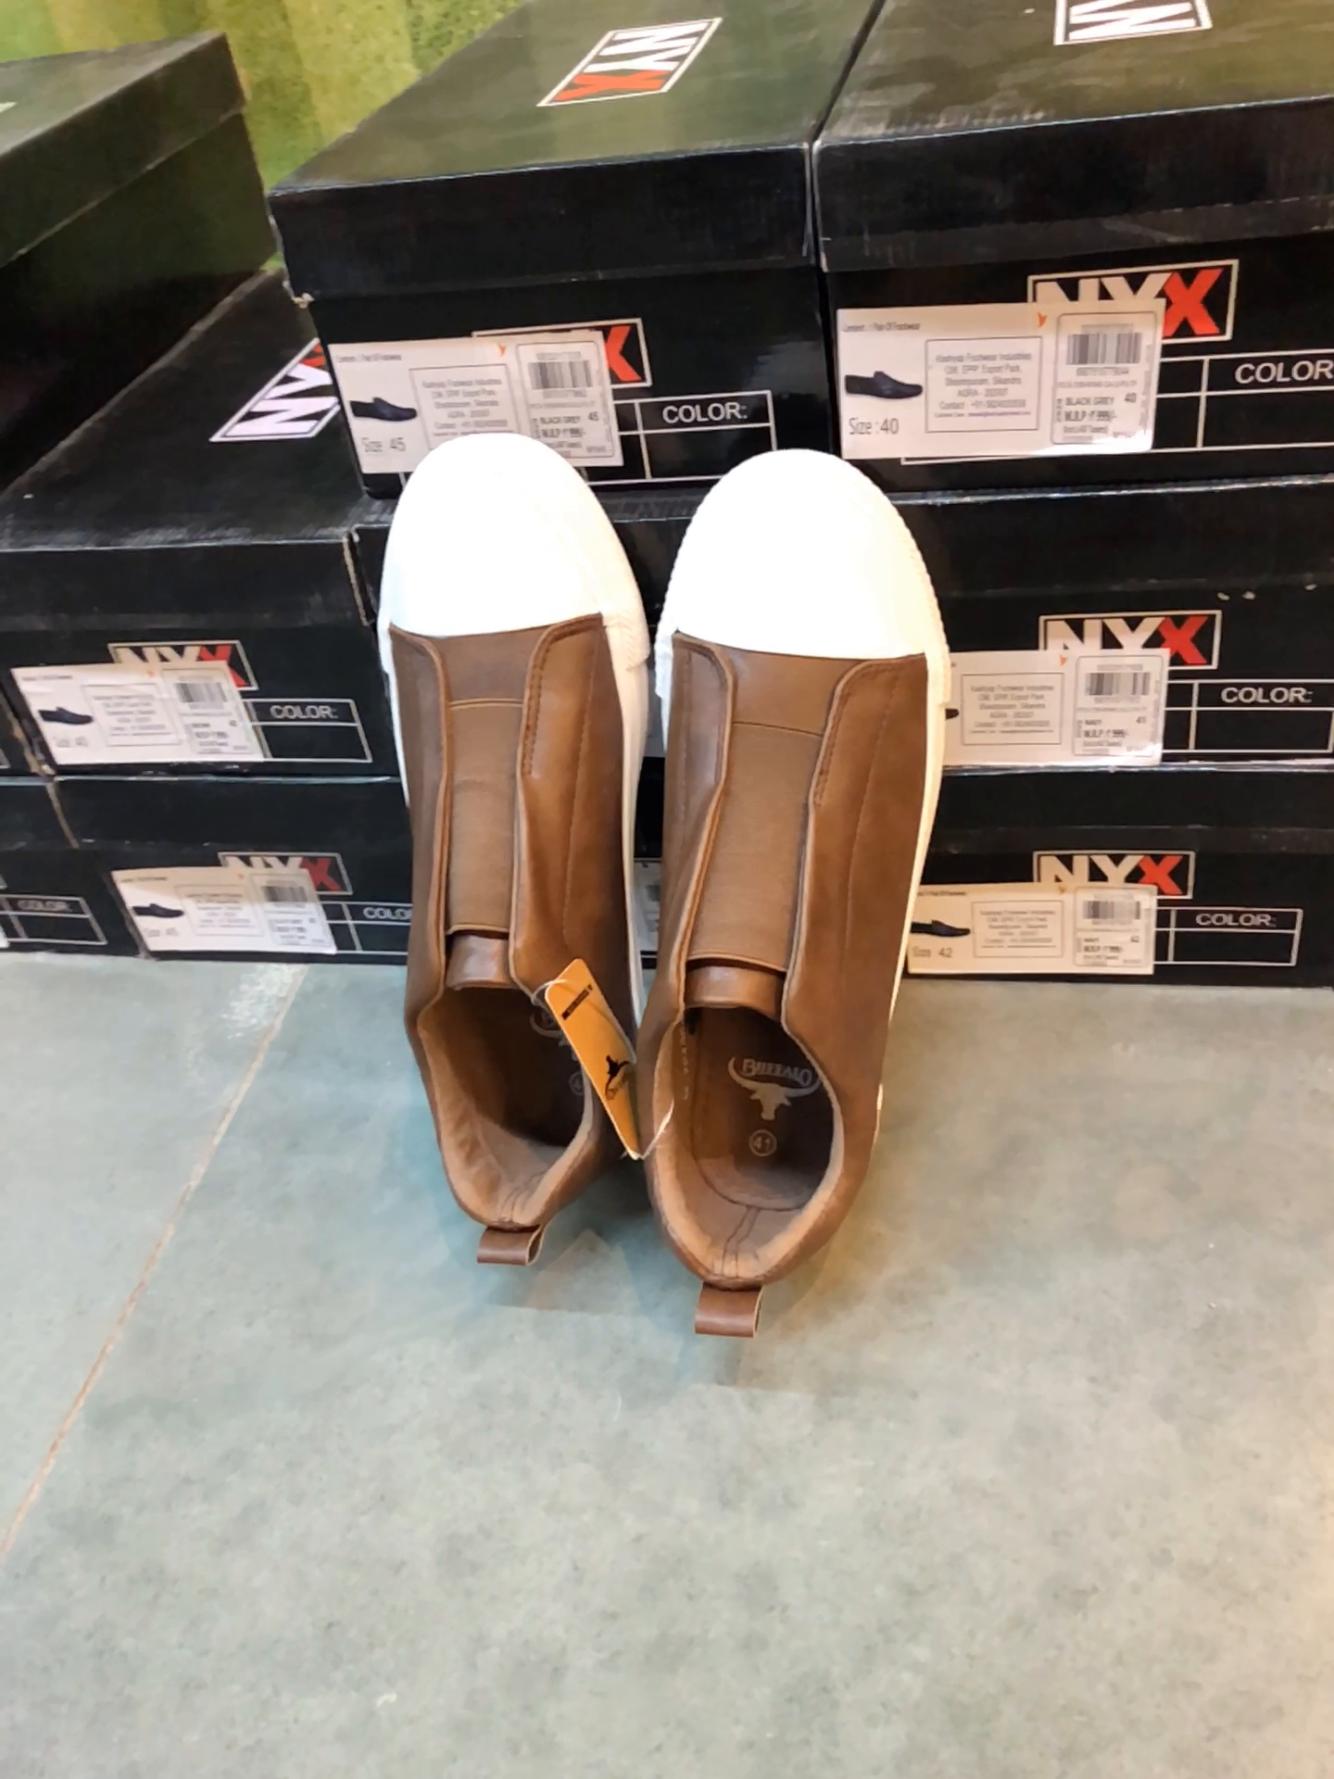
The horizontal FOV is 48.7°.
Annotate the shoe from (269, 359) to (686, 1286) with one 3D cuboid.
[{"bbox_3d":[-0.056,-0.021,0.489,0.098,0.269,0.103,0,4,13],"label":"shoe"}]

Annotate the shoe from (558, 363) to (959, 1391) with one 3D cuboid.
[{"bbox_3d":[0.031,-0.006,0.450,0.096,0.272,0.101,2,4,16],"label":"shoe"}]
